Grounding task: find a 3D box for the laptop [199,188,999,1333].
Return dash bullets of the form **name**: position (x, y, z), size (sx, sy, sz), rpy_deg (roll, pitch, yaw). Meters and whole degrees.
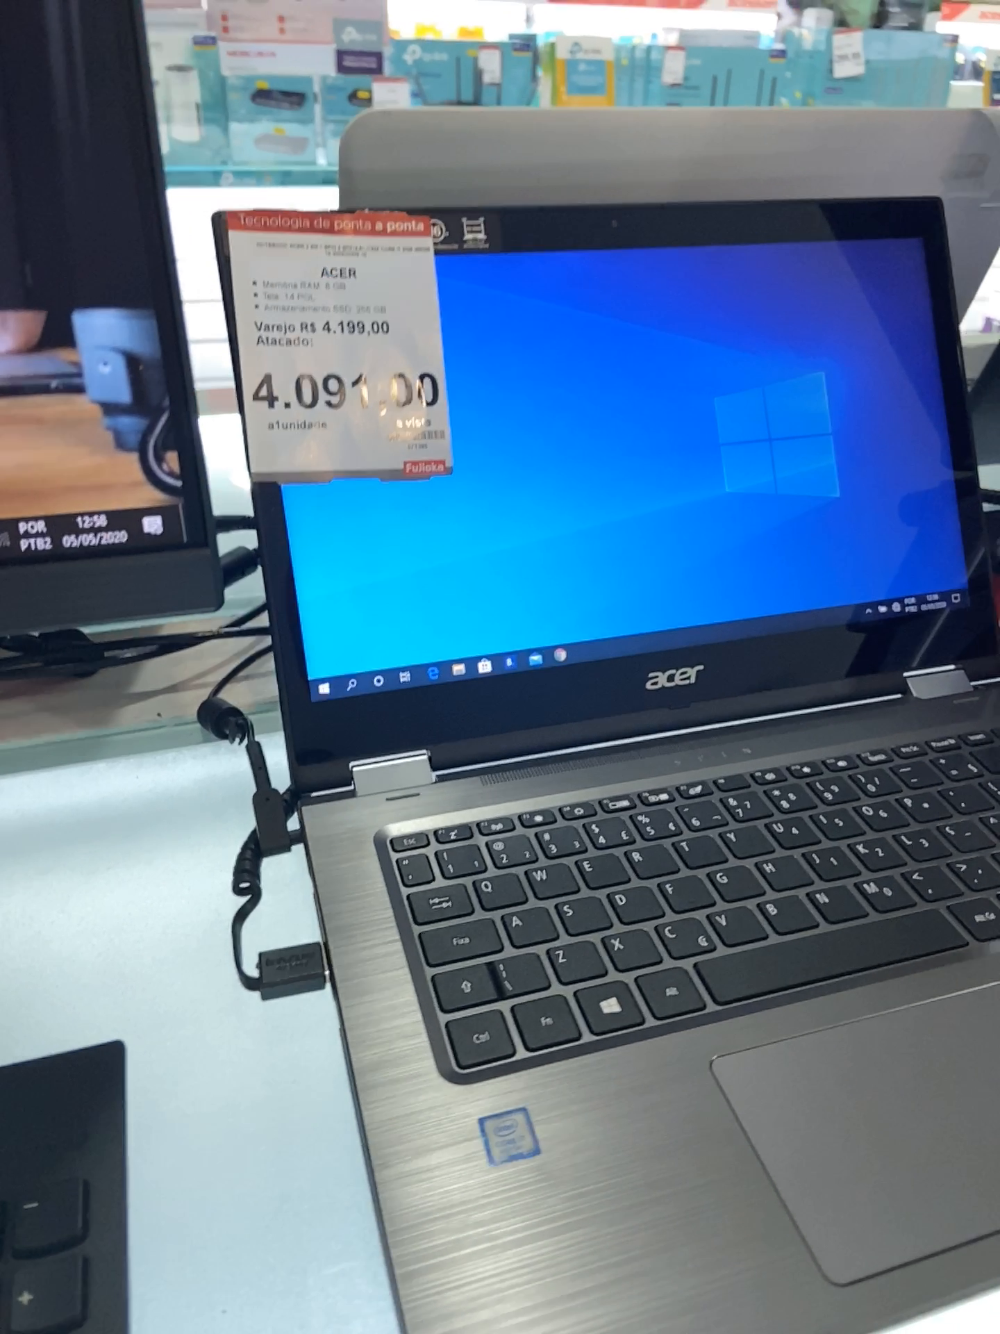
- **laptop**: position (0.092, -0.031, 0.344), size (0.328, 0.187, 0.357), rpy_deg (-8, 33, -15)
